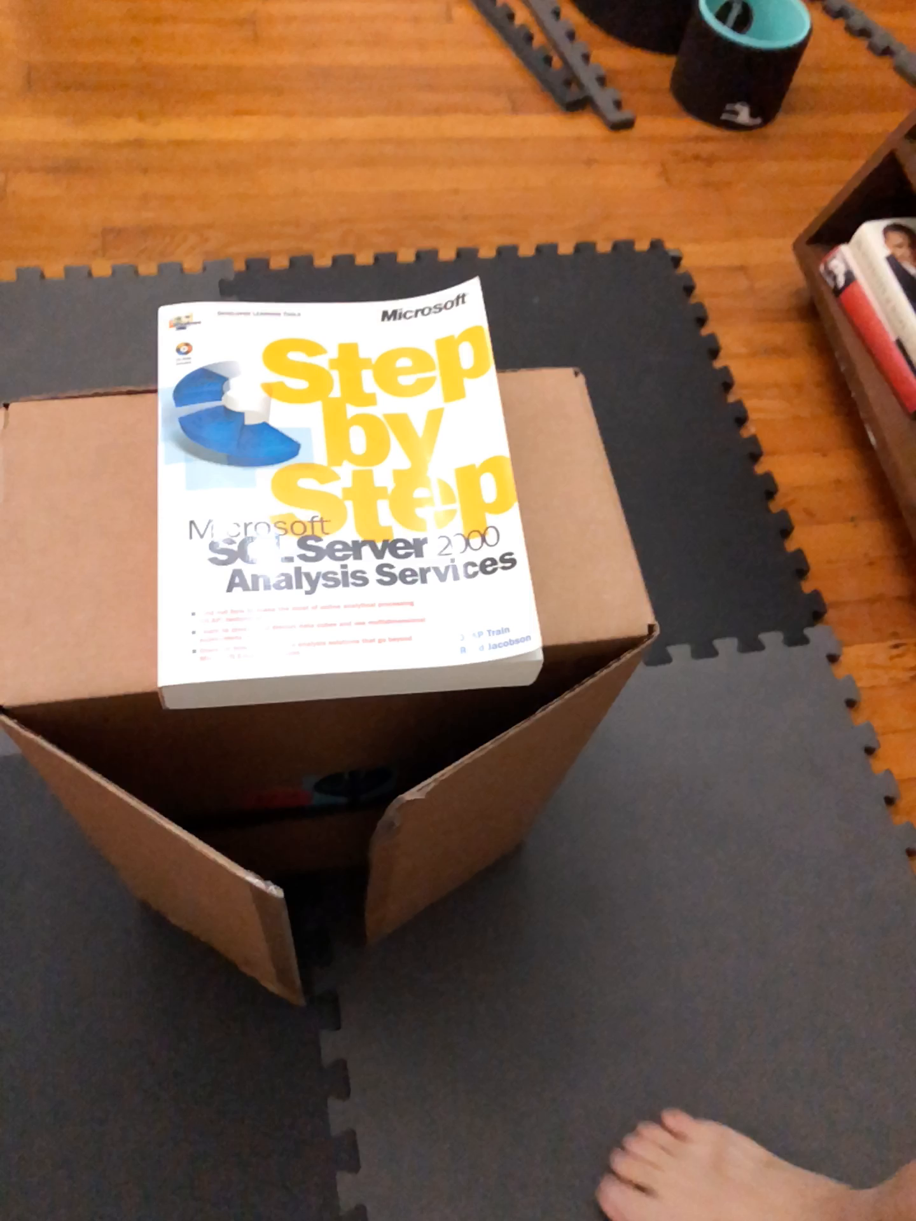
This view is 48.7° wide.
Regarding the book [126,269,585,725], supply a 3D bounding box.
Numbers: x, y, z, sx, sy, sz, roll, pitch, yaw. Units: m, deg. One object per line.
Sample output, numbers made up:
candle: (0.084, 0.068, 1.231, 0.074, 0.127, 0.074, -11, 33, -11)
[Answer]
book: (-0.063, -0.074, 0.553, 0.200, 0.050, 0.241, -7, 66, -15)
